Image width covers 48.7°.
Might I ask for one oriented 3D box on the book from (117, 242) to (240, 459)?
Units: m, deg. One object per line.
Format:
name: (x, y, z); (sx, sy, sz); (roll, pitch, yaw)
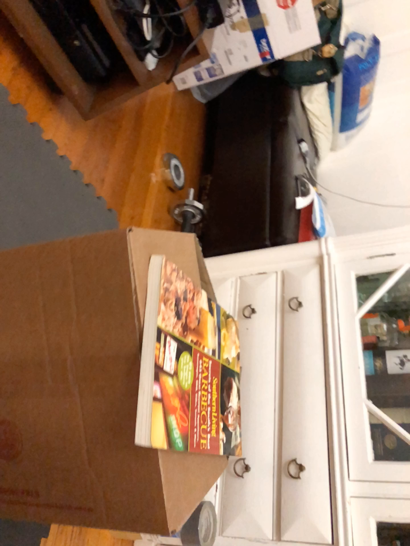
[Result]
book: (-0.014, 0.121, 0.600); (0.291, 0.020, 0.220); (43, 43, -56)
